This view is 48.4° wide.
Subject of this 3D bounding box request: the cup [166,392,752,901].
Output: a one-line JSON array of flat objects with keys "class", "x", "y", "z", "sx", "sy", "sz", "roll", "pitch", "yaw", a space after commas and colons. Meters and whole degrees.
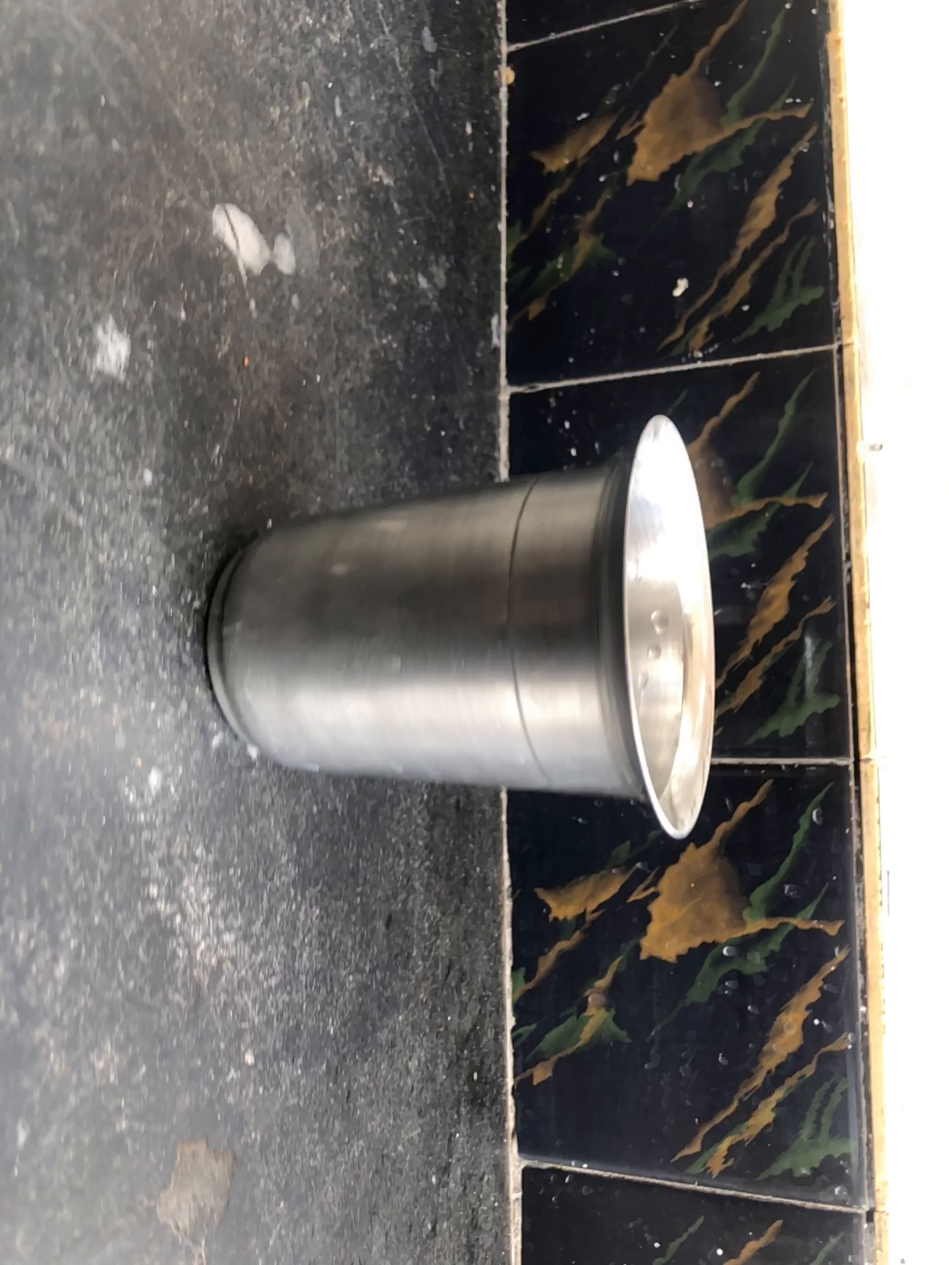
[{"class": "cup", "x": 0.006, "y": -0.002, "z": 0.247, "sx": 0.091, "sy": 0.099, "sz": 0.090, "roll": -2, "pitch": 90, "yaw": -69}]
